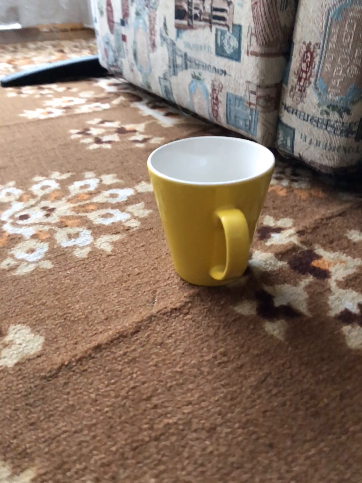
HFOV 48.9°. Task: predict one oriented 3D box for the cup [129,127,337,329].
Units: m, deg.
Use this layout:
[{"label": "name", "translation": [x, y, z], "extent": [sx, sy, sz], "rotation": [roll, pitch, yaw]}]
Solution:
[{"label": "cup", "translation": [0.029, -0.021, 0.306], "extent": [0.097, 0.088, 0.125], "rotation": [-14, 34, -19]}]
